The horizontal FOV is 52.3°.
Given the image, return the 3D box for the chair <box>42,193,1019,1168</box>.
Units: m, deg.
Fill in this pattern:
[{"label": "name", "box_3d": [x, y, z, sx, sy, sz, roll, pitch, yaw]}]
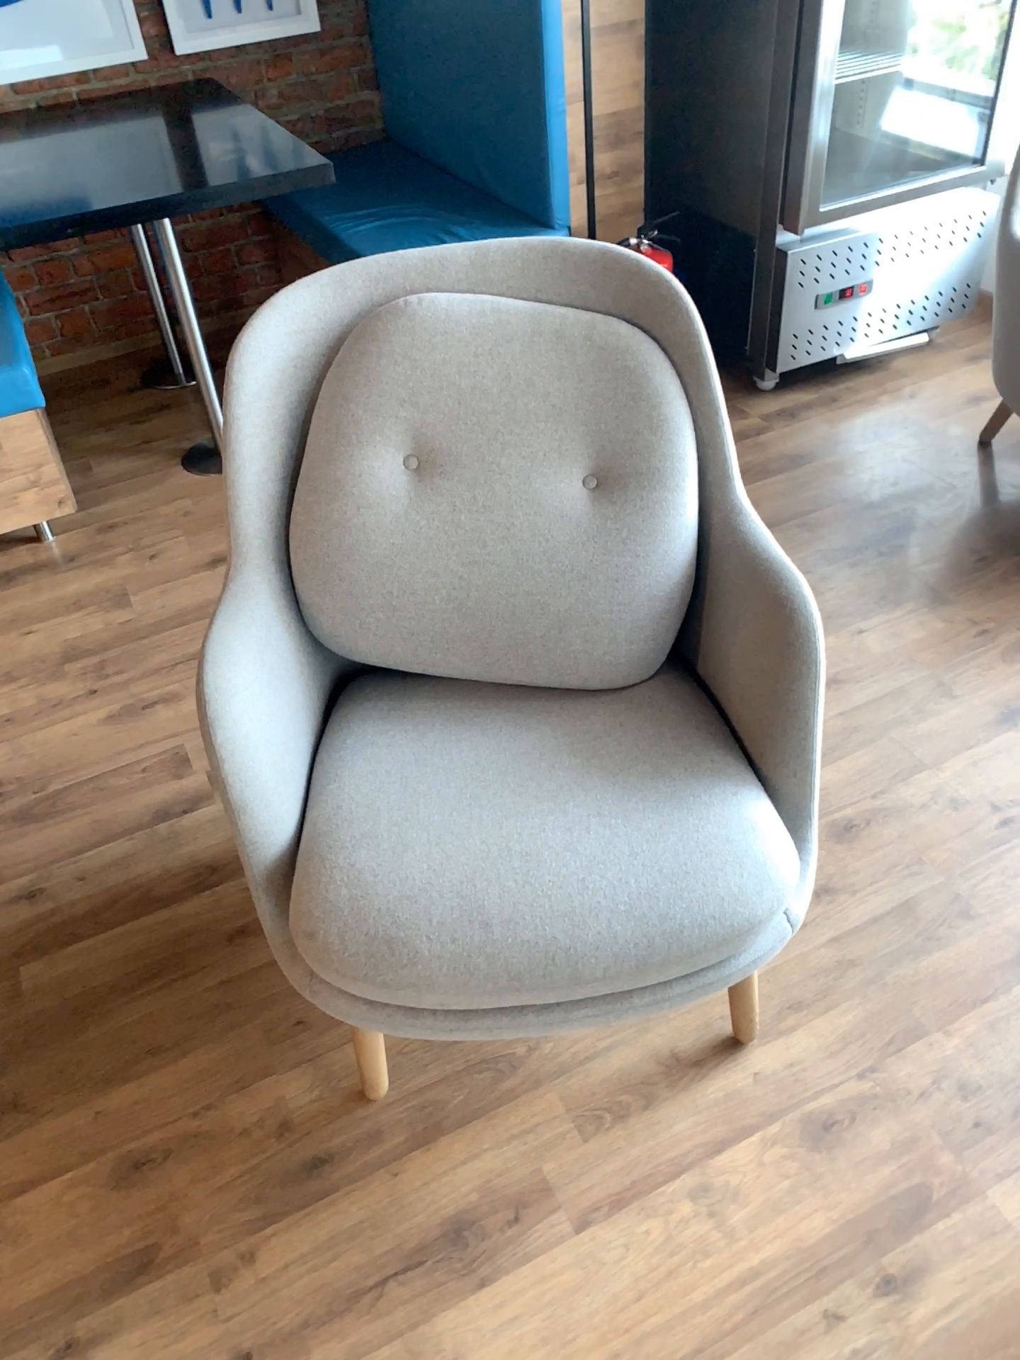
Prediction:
[{"label": "chair", "box_3d": [-0.003, -0.025, 1.322, 0.750, 0.833, 0.746, -11, 40, -6]}]
